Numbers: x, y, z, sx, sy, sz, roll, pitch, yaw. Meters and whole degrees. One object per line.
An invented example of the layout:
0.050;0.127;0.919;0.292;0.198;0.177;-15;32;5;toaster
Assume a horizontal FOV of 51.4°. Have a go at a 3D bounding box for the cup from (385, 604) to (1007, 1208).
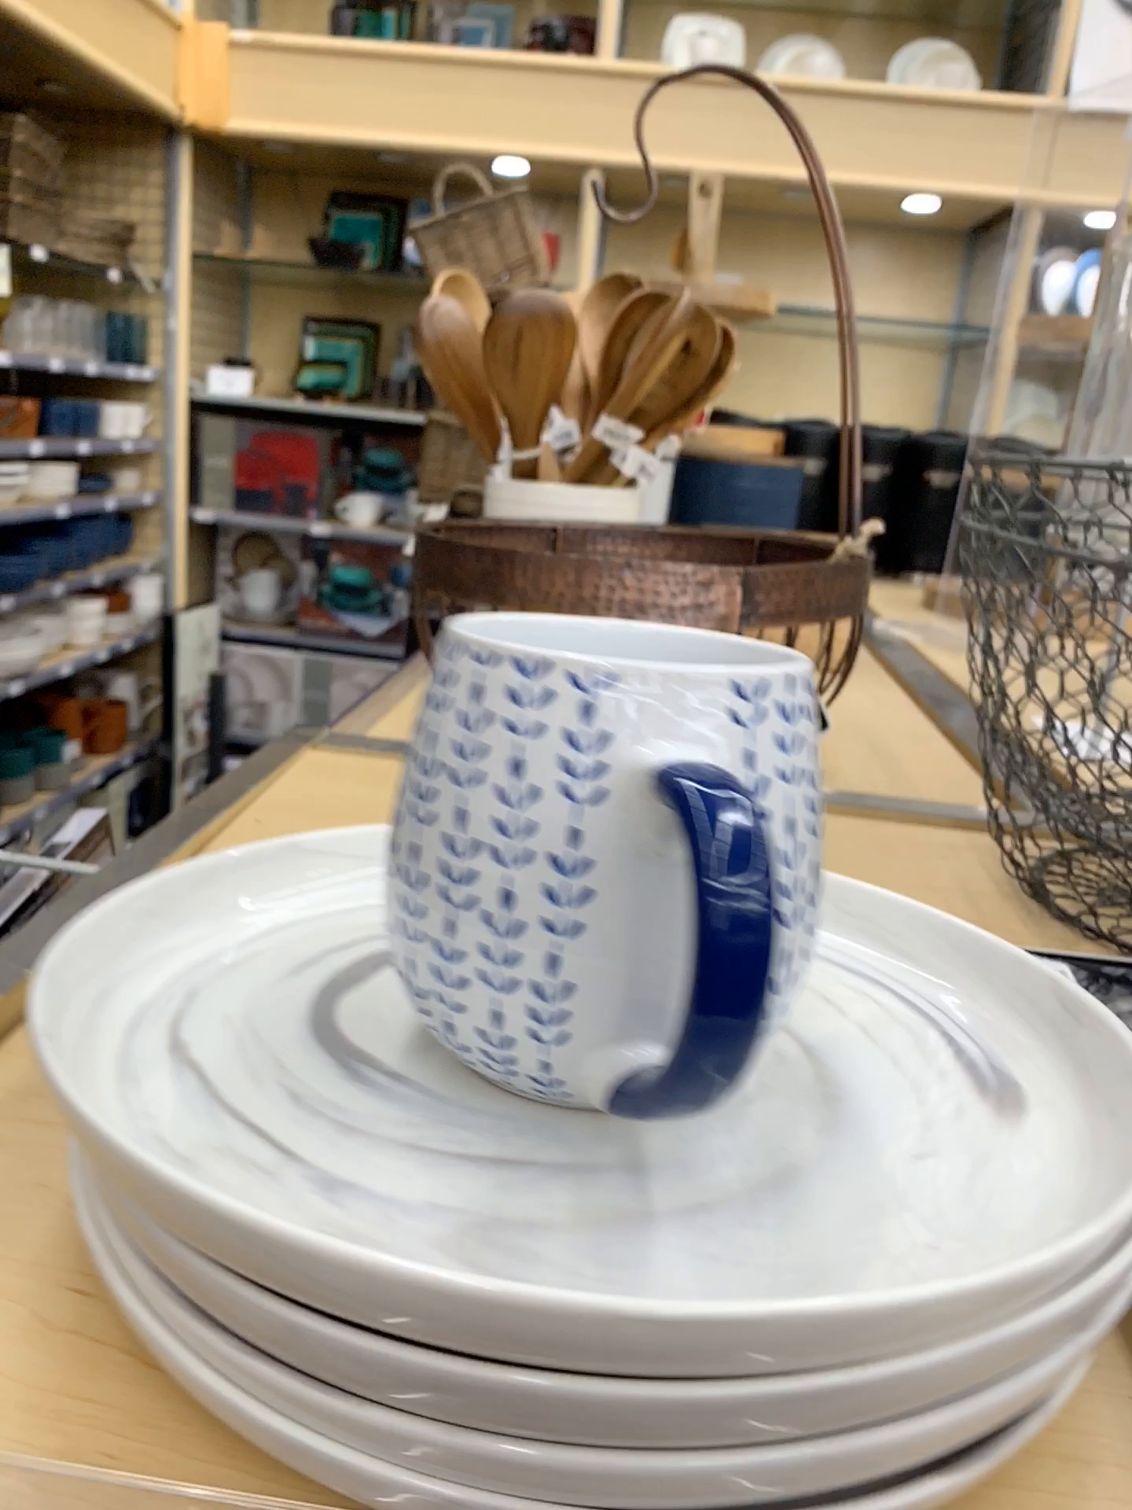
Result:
0.015;0.023;0.282;0.104;0.097;0.128;1;14;-13;cup
